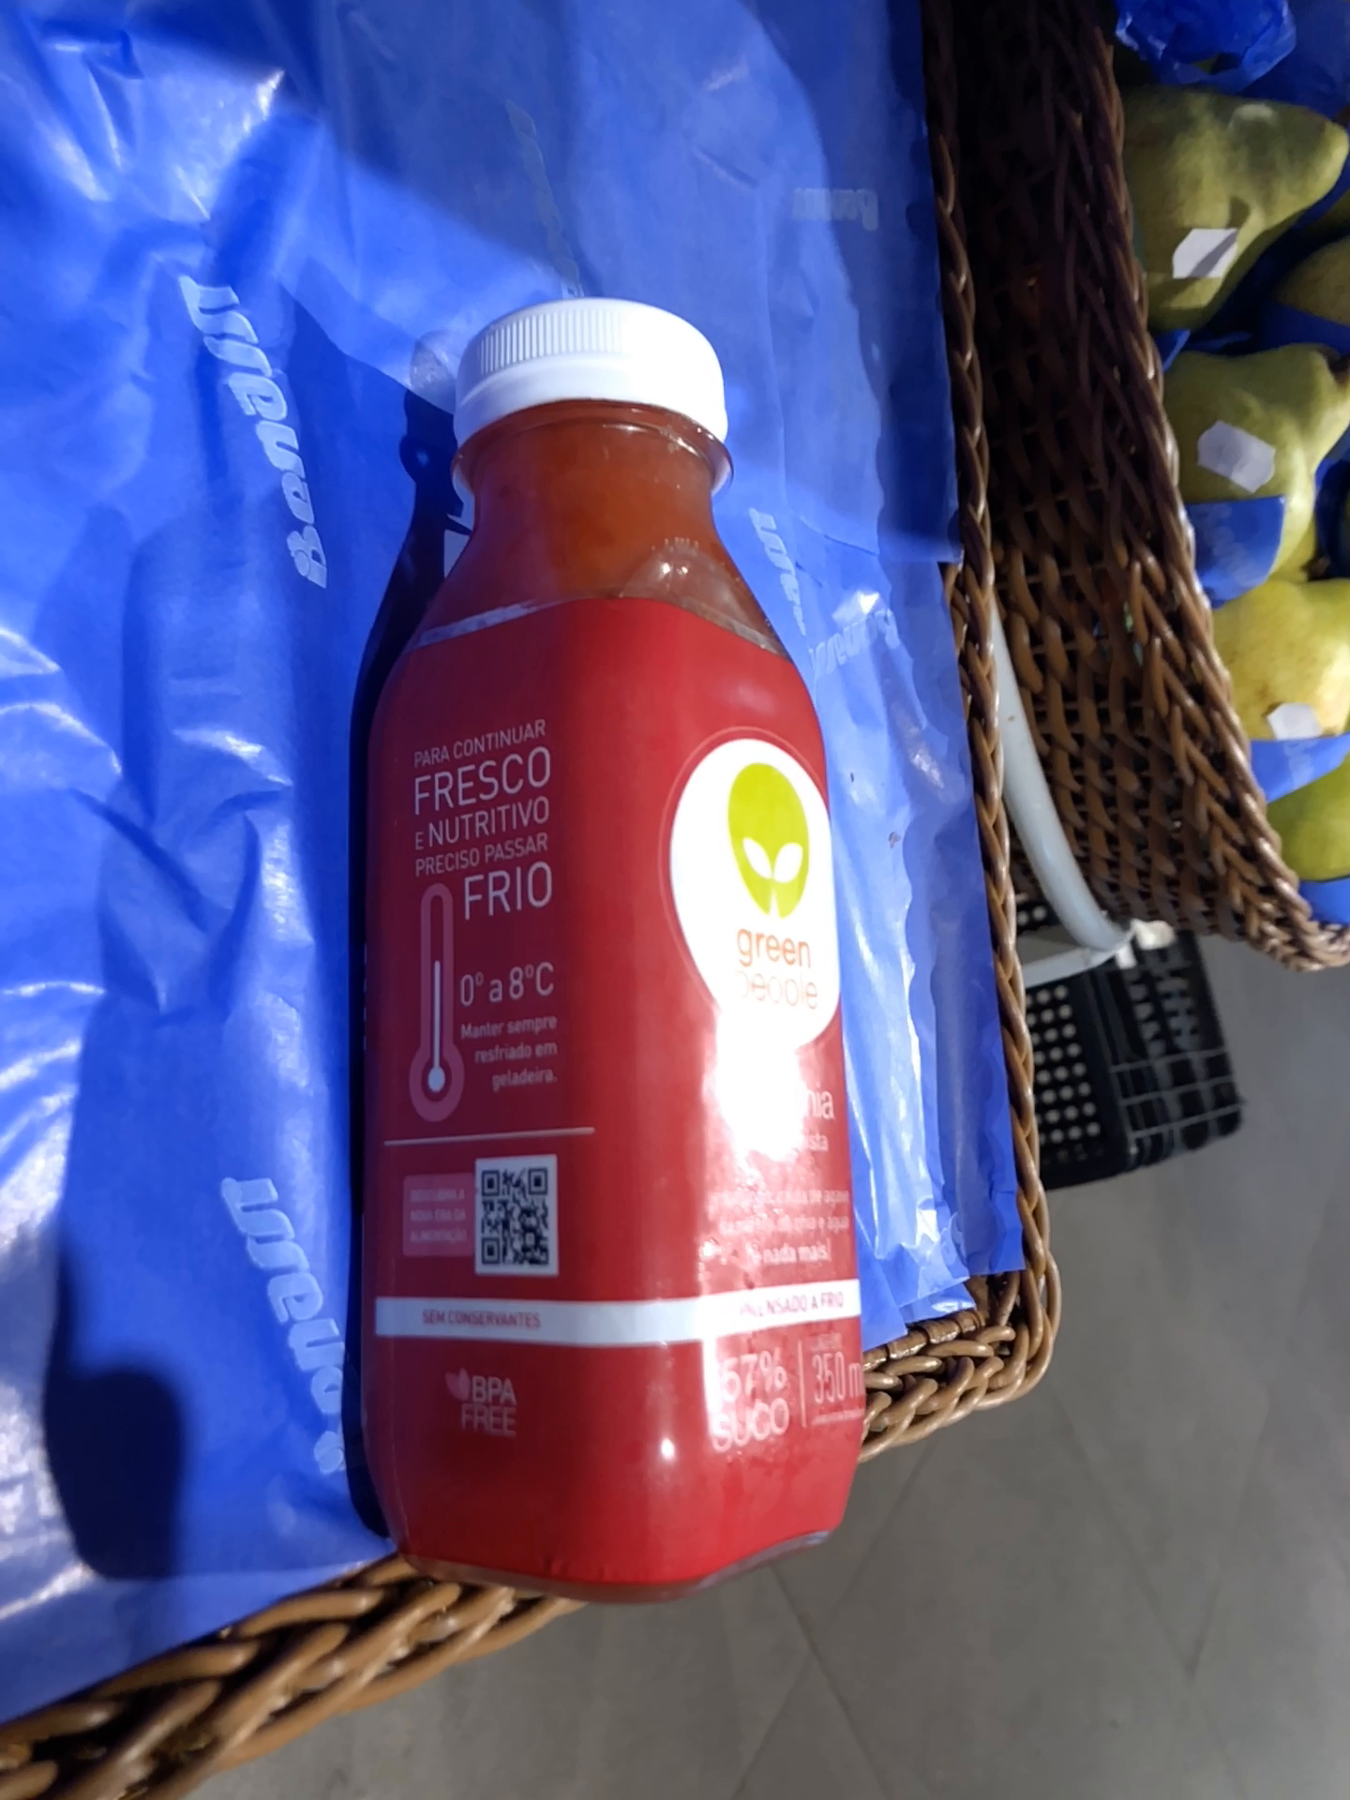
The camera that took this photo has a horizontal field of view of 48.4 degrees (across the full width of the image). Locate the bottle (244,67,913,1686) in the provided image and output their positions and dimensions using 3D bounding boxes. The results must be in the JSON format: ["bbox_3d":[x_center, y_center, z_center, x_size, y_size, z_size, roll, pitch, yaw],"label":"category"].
[{"bbox_3d":[-0.013,-0.005,0.212,0.060,0.060,0.190,14,70,-50],"label":"bottle"}]
